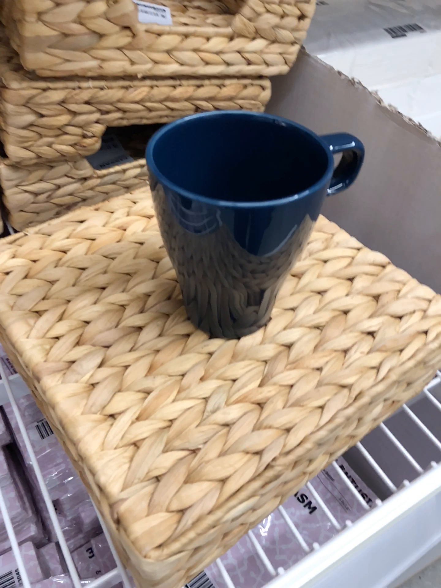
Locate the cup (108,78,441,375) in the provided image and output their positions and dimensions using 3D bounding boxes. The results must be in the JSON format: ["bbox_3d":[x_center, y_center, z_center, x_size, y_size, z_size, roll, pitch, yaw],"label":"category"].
[{"bbox_3d":[0.020,-0.036,0.236,0.120,0.090,0.080,-15,48,-18],"label":"cup"}]
